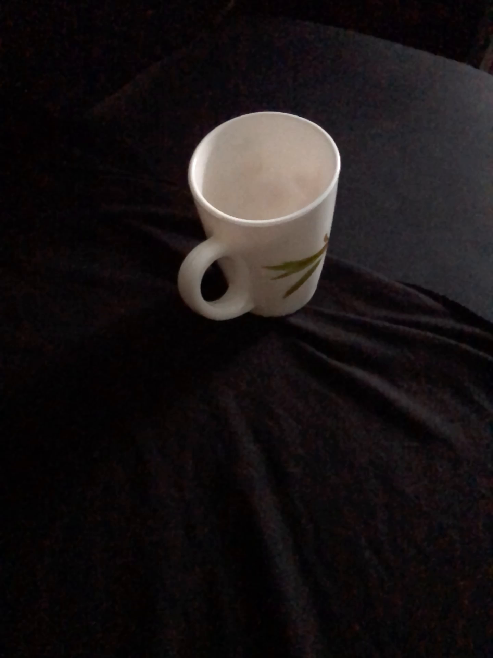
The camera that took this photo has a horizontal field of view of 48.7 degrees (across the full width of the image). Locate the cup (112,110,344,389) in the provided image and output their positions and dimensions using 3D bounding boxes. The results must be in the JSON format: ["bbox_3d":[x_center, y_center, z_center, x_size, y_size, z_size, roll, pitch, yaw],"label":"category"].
[{"bbox_3d":[-0.009,-0.055,0.398,0.090,0.130,0.125,30,63,18],"label":"cup"}]
